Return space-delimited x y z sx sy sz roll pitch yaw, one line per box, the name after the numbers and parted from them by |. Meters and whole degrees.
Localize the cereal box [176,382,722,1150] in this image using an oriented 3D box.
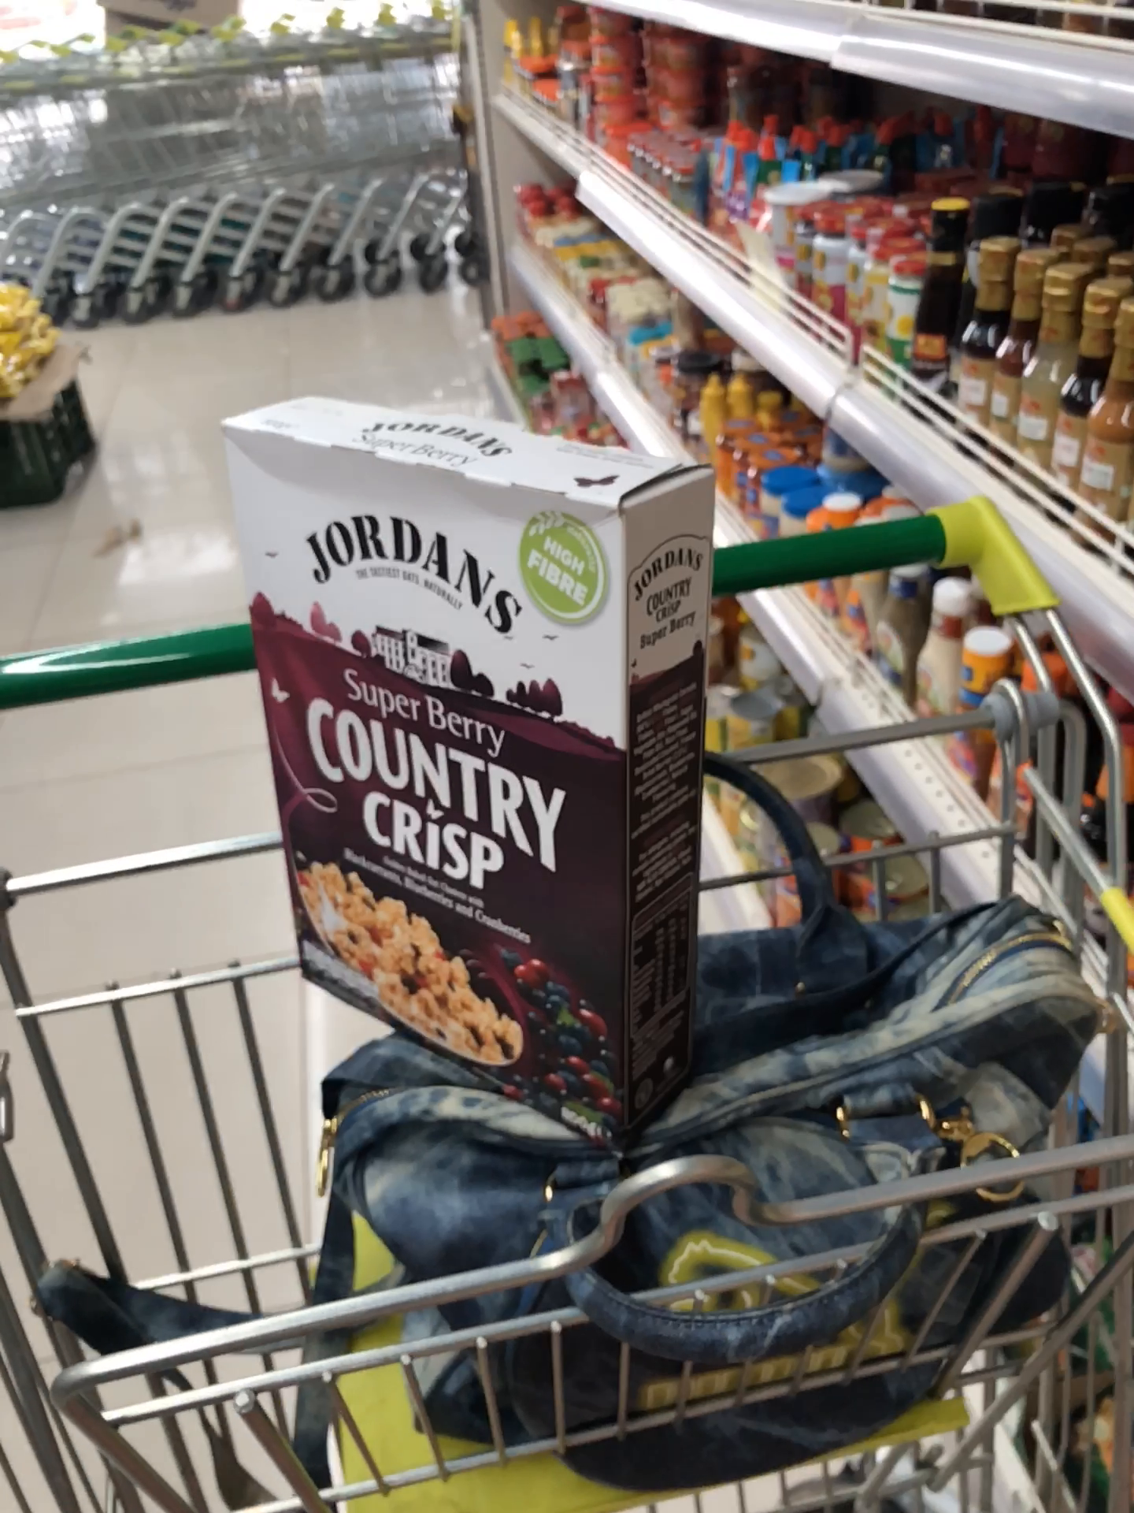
-0.042 0.000 0.447 0.180 0.229 0.050 19 34 32 | cereal box
